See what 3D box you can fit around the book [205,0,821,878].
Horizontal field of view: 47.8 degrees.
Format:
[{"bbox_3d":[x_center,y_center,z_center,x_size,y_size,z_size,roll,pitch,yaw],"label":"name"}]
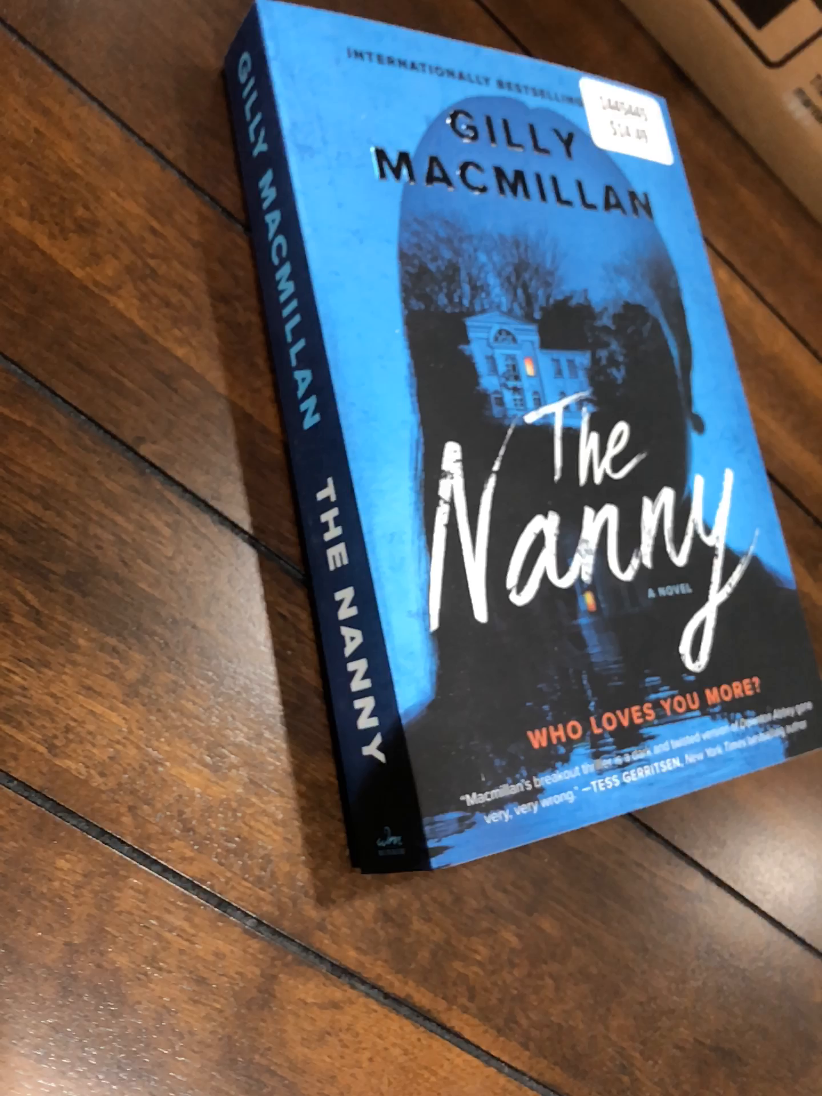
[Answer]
[{"bbox_3d":[0.038,-0.039,0.276,0.161,0.040,0.230,-3,75,-30],"label":"book"}]
